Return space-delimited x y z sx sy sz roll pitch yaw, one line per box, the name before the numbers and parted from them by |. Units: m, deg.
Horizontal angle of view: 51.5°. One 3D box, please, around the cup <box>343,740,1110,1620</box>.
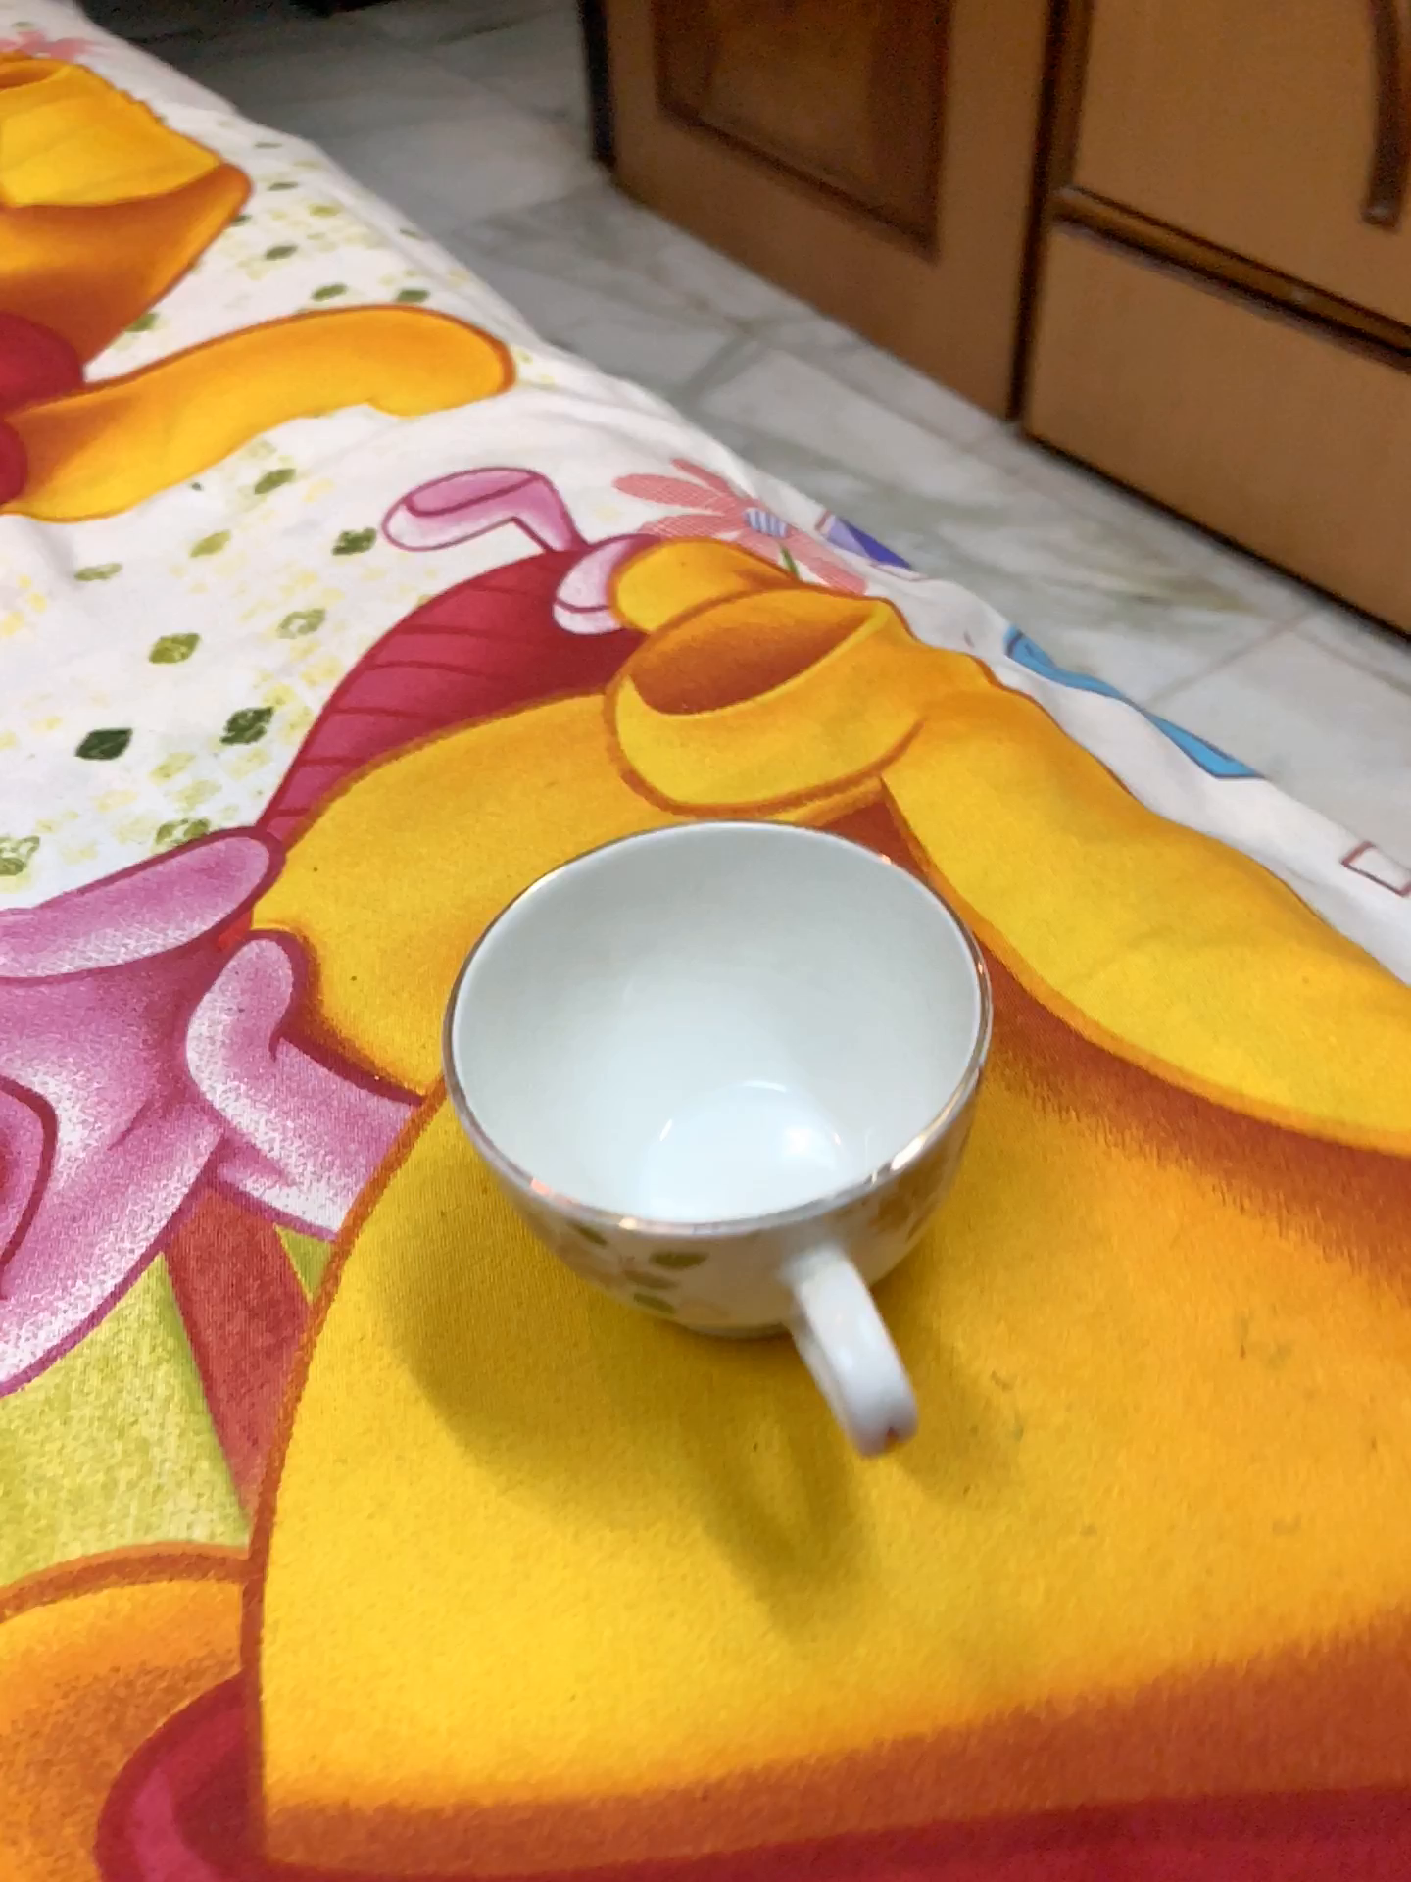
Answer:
cup | -0.001 0.032 0.231 0.080 0.059 0.101 -18 48 -9
